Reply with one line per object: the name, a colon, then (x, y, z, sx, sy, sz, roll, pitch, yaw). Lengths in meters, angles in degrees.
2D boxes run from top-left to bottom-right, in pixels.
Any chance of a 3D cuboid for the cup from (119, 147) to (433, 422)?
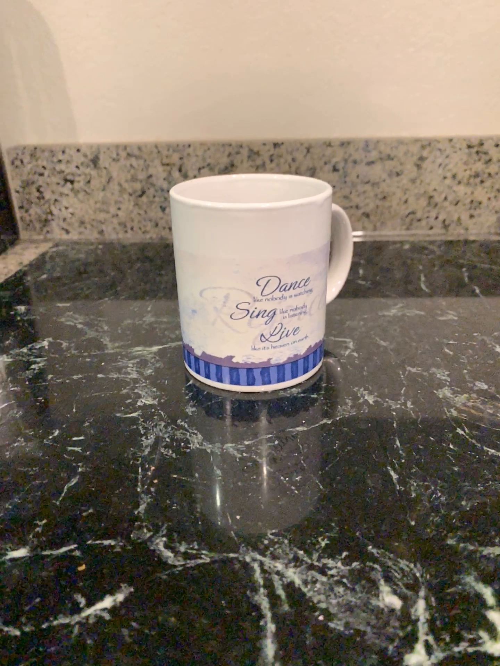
cup: (0.016, -0.039, 0.280, 0.130, 0.099, 0.090, -21, 32, -36)
